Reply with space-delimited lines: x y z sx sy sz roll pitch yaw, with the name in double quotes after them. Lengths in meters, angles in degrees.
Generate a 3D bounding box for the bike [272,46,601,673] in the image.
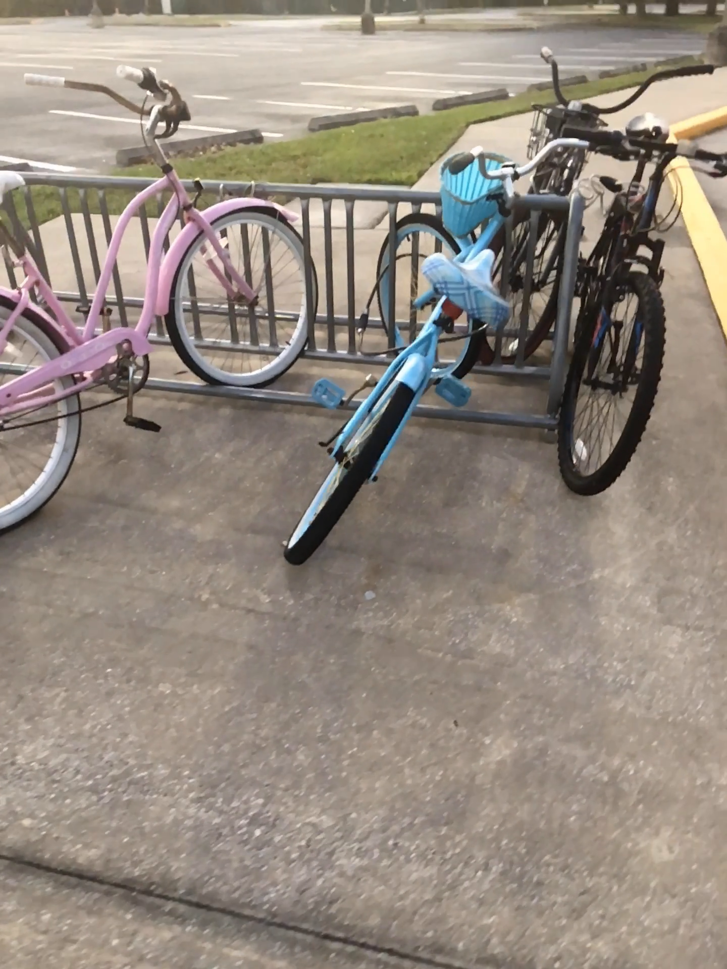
0.202 -0.487 2.176 0.583 0.953 1.426 4 38 8 "bike"

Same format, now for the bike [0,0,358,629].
-0.811 -0.727 2.299 0.773 1.146 1.612 20 44 31 "bike"
